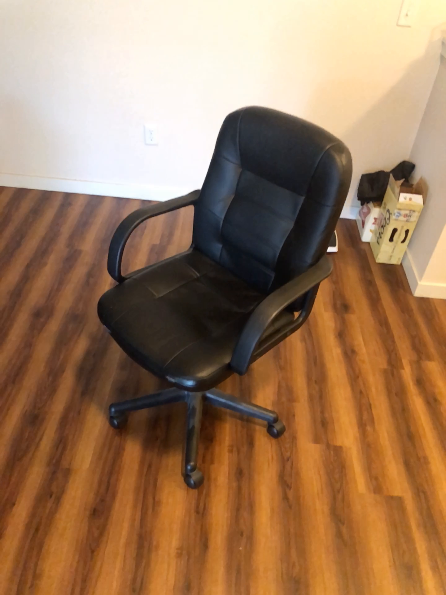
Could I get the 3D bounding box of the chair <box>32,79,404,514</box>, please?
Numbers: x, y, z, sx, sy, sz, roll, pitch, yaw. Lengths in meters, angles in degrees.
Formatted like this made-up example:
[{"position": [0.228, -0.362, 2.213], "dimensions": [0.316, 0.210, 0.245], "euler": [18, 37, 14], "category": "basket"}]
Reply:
[{"position": [-0.042, -0.021, 1.556], "dimensions": [0.663, 1.012, 0.669], "euler": [34, 47, 30], "category": "chair"}]
